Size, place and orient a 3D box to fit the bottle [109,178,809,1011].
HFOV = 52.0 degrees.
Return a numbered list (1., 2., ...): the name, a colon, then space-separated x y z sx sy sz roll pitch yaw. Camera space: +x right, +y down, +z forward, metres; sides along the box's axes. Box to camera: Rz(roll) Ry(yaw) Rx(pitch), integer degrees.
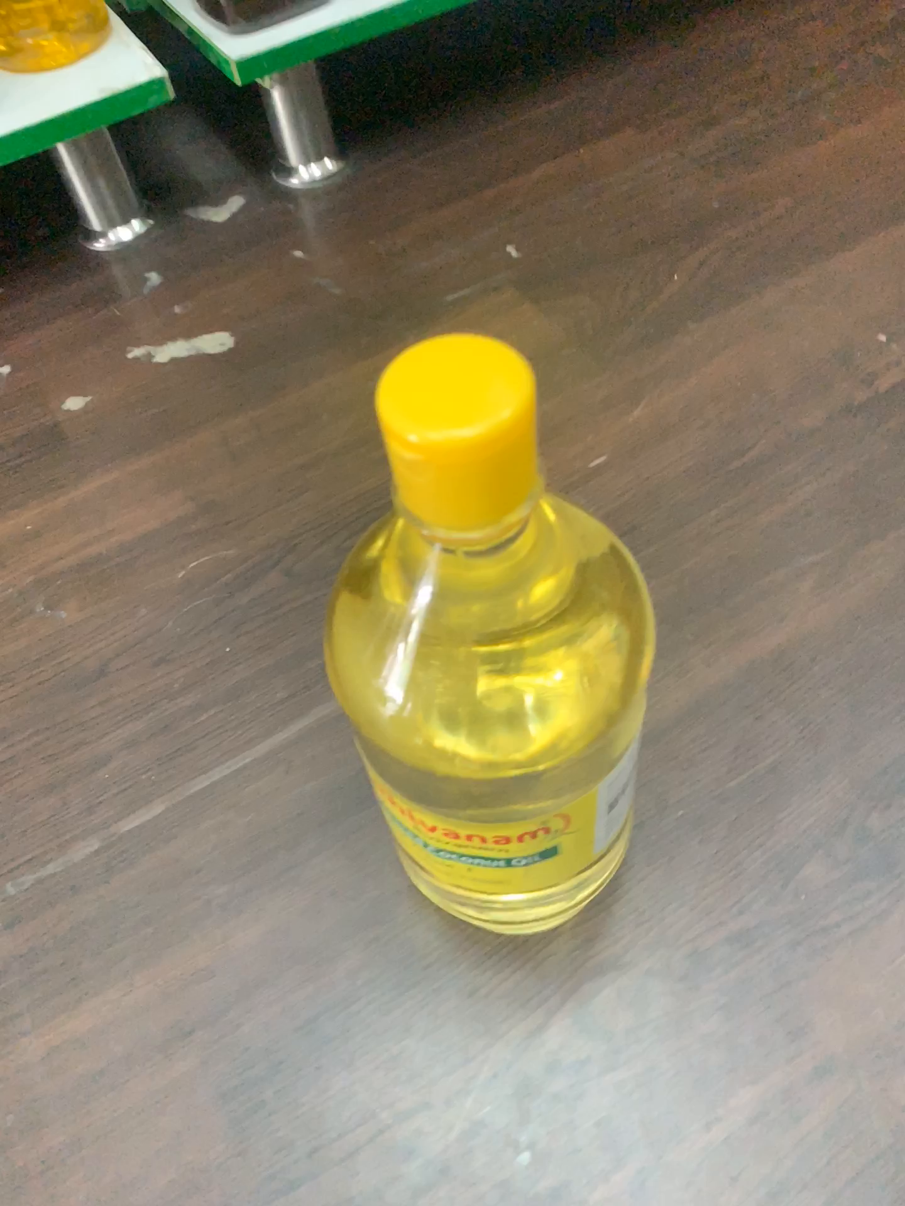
1. bottle: 0.011 0.018 0.251 0.090 0.209 0.090 -4 54 5
